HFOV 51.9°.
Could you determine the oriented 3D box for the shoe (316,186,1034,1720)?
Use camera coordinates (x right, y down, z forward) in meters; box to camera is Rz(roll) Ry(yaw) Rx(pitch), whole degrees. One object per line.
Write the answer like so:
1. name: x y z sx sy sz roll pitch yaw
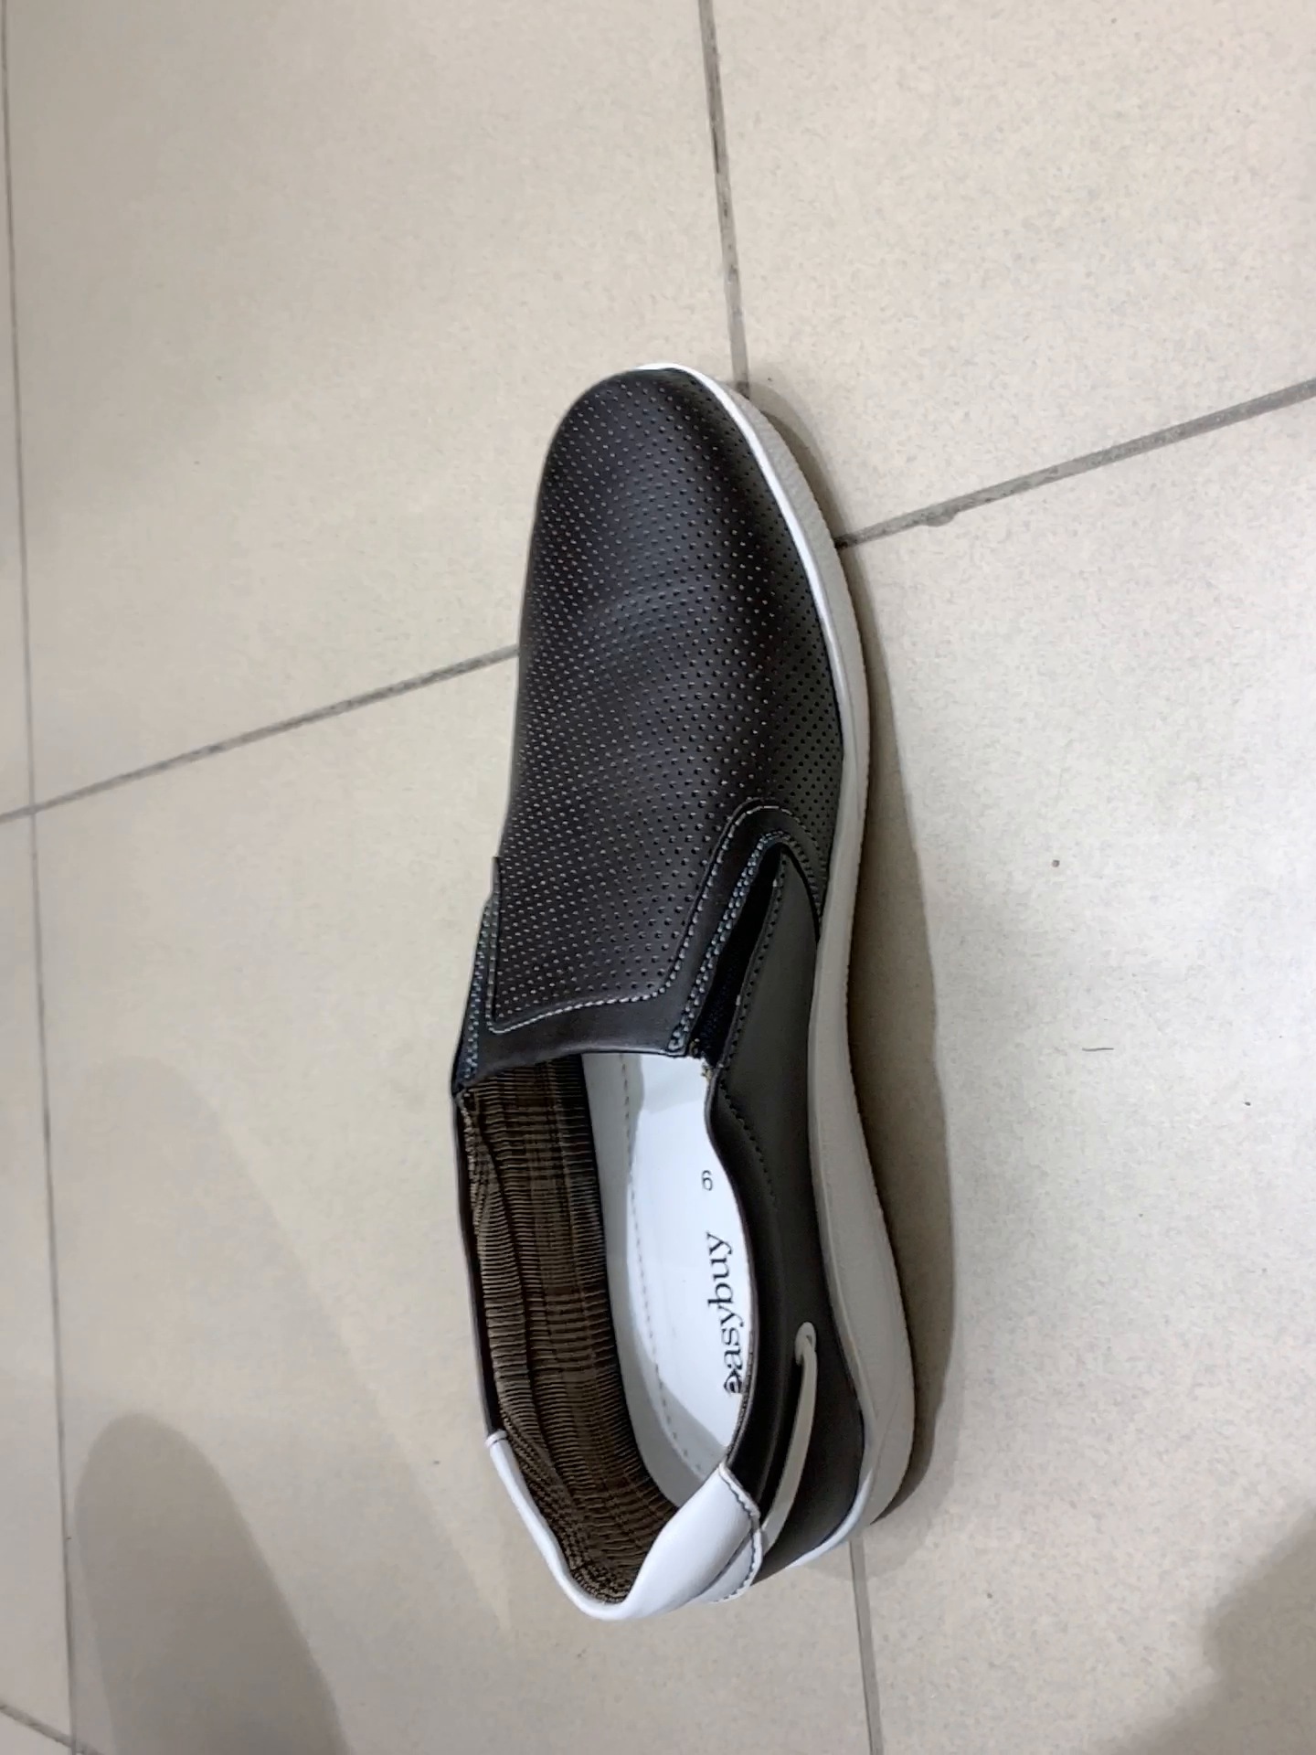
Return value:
1. shoe: -0.001 0.014 0.331 0.111 0.089 0.300 -13 81 39
